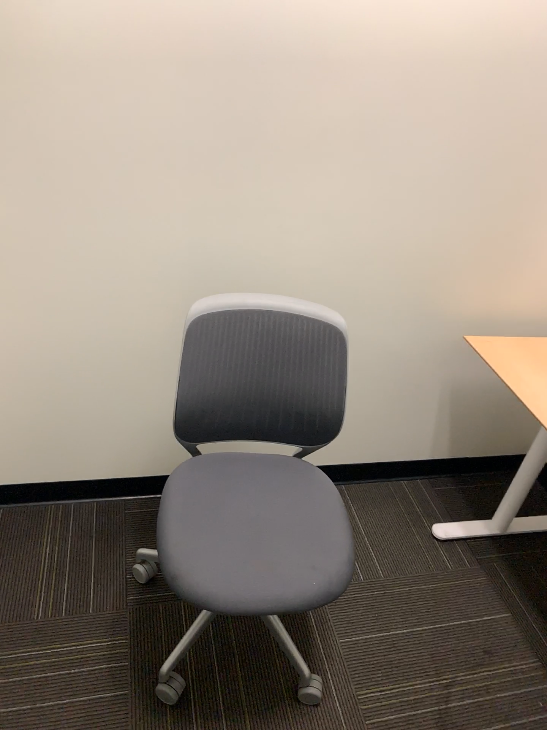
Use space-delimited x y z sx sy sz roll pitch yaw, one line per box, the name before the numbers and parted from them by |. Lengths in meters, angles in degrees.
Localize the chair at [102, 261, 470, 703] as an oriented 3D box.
chair | -0.054 0.319 1.686 0.720 0.885 0.905 5 33 -8
